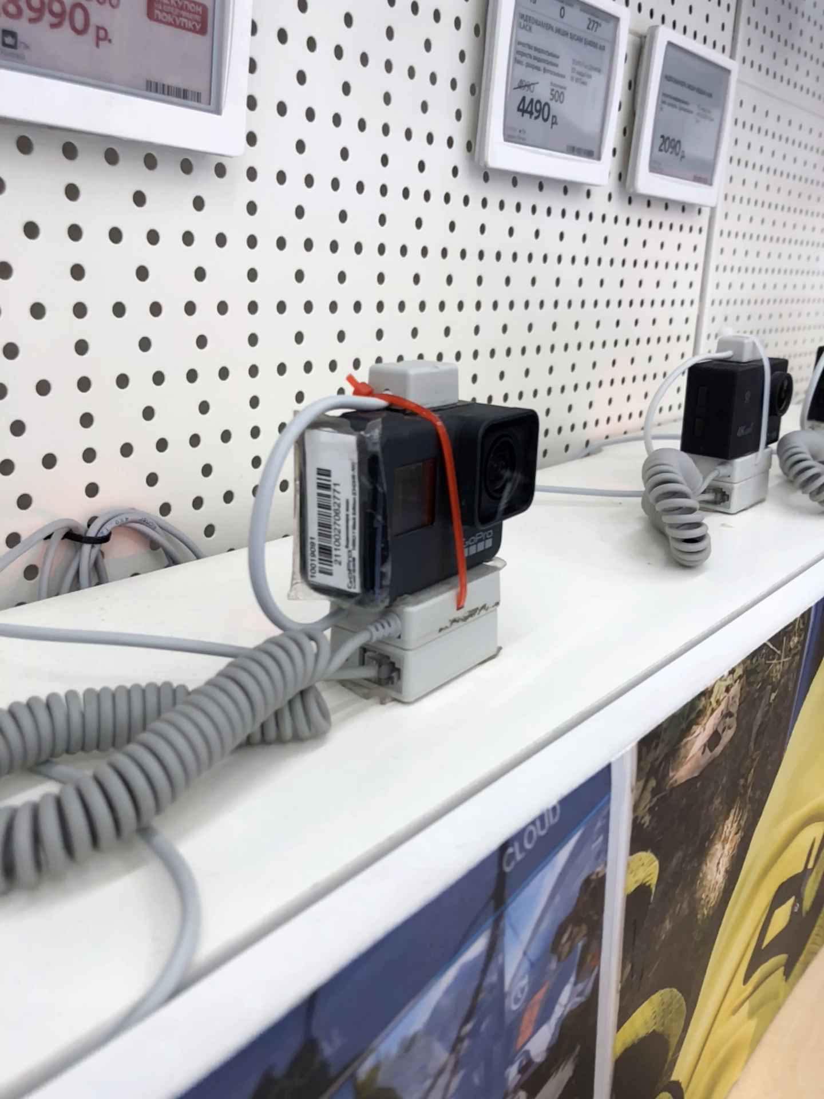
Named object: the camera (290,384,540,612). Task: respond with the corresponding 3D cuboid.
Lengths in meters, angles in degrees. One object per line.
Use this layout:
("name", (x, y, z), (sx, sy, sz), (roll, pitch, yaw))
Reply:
("camera", (0.002, -0.017, 0.234), (0.029, 0.044, 0.067), (14, 20, 34))
